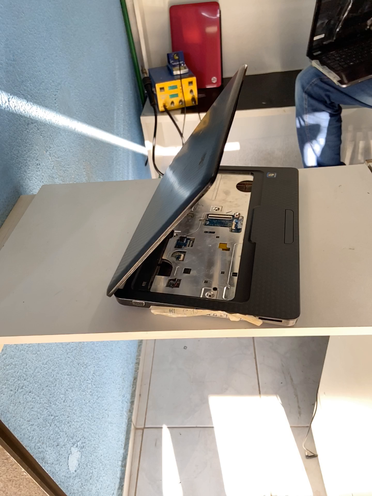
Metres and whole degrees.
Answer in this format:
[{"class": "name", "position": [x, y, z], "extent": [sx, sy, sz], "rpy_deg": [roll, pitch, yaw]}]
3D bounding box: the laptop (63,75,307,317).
[{"class": "laptop", "position": [0.035, -0.097, 0.508], "extent": [0.222, 0.153, 0.329], "rpy_deg": [3, 40, 13]}]
